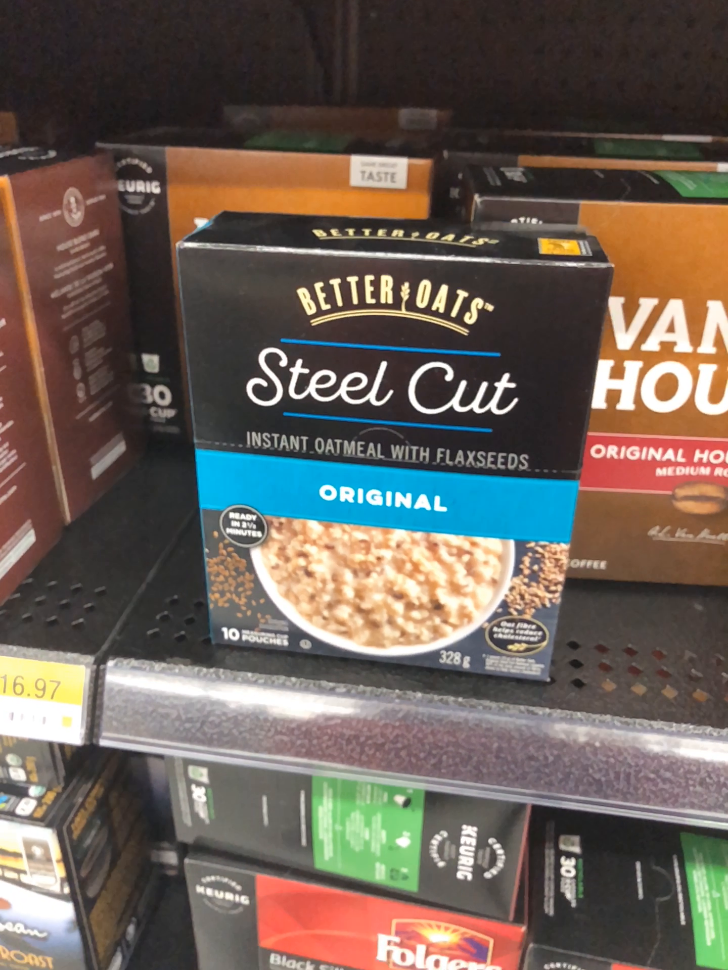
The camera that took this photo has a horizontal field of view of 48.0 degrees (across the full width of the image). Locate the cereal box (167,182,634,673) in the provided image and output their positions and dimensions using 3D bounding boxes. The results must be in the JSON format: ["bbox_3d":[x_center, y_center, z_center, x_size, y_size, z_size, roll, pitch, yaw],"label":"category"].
[{"bbox_3d":[0.011,-0.020,0.333,0.150,0.179,0.060,5,31,5],"label":"cereal box"}]
